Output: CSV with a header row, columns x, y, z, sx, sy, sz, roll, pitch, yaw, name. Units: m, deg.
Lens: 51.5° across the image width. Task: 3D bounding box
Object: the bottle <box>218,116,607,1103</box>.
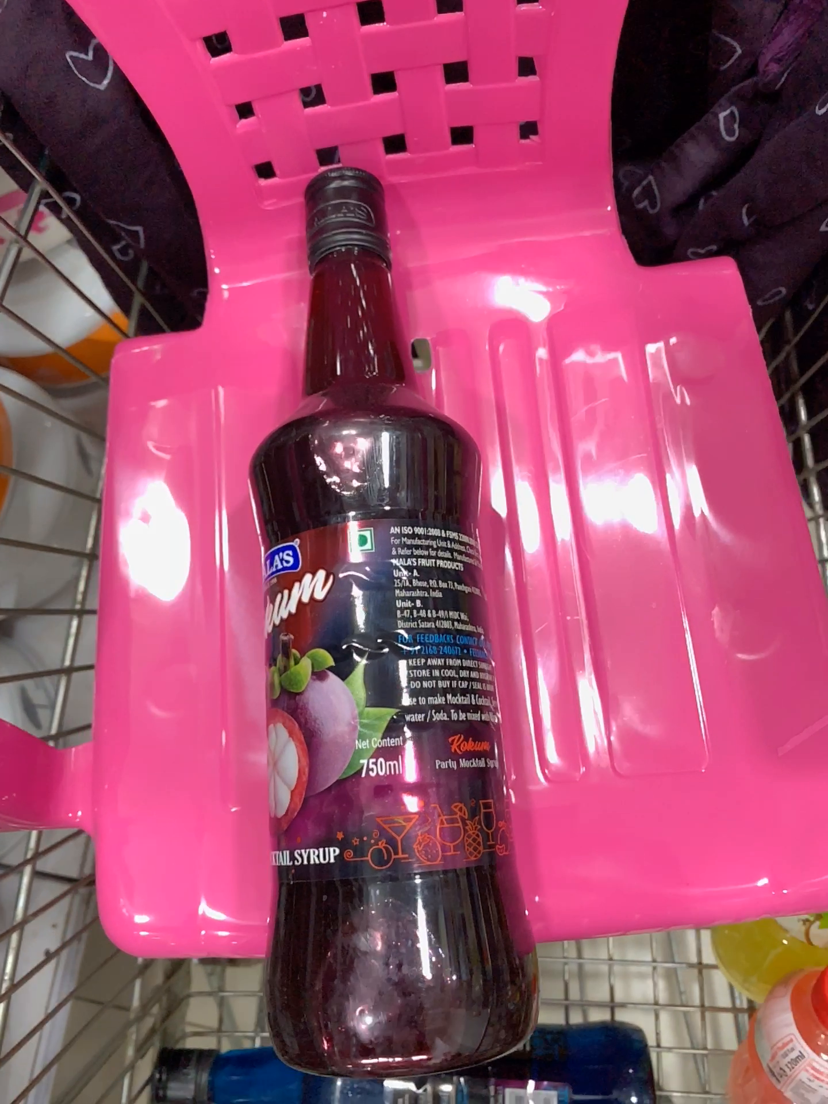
x,y,z,sx,sy,sz,roll,pitch,yaw,name
-0.012,0.010,0.270,0.080,0.080,0.260,1,75,-22,bottle
